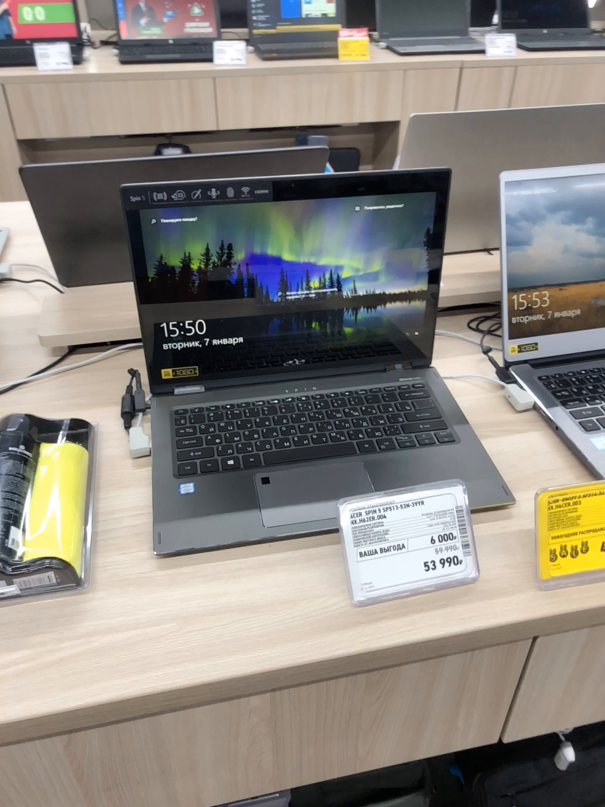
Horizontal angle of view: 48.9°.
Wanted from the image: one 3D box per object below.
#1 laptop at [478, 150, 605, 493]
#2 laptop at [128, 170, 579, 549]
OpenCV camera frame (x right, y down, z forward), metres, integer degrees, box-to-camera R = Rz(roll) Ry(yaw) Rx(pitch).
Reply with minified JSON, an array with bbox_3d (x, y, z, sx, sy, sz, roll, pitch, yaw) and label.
[{"bbox_3d":[0.394,-0.103,0.679,0.270,0.196,0.299,-9,38,-10],"label":"laptop"},{"bbox_3d":[0.019,-0.057,0.608,0.314,0.215,0.246,-6,37,-9],"label":"laptop"}]
